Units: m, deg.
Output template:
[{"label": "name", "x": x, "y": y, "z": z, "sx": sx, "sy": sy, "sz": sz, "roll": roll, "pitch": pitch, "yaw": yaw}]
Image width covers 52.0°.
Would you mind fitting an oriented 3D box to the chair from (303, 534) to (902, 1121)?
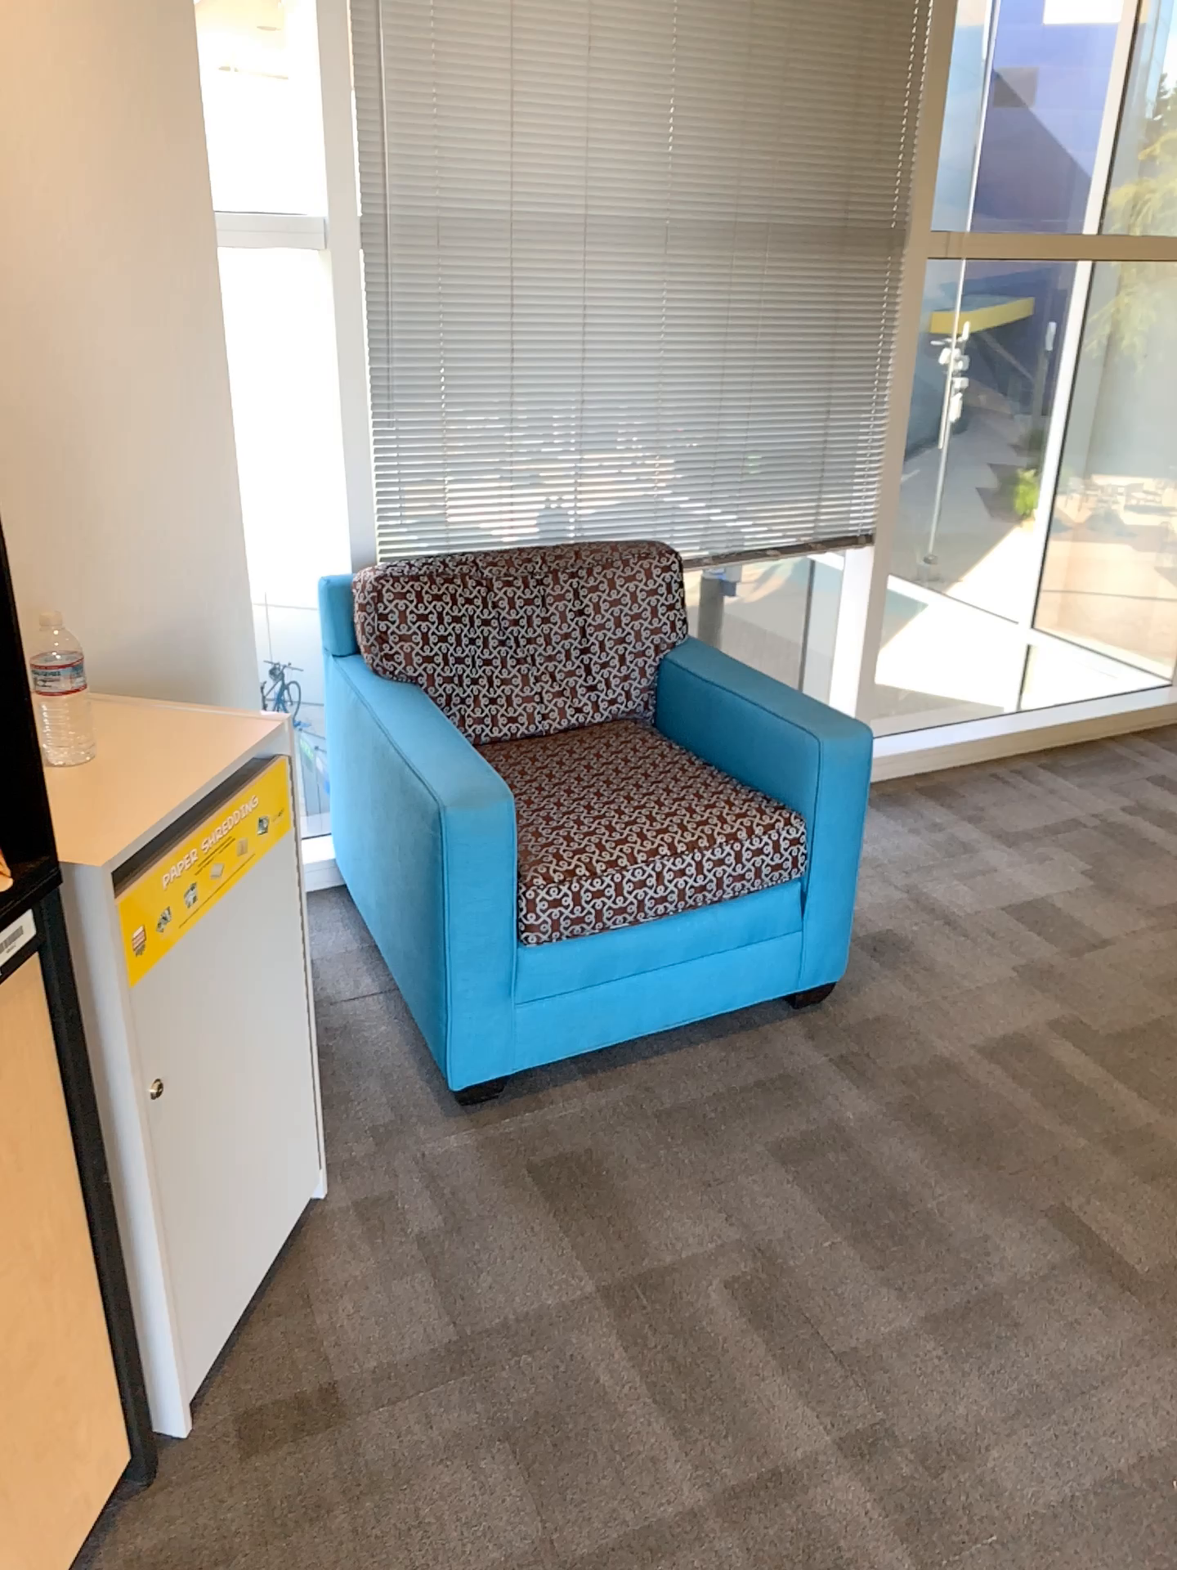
[{"label": "chair", "x": -0.028, "y": -0.005, "z": 2.623, "sx": 0.910, "sy": 0.826, "sz": 0.925, "roll": -10, "pitch": 26, "yaw": -23}]
